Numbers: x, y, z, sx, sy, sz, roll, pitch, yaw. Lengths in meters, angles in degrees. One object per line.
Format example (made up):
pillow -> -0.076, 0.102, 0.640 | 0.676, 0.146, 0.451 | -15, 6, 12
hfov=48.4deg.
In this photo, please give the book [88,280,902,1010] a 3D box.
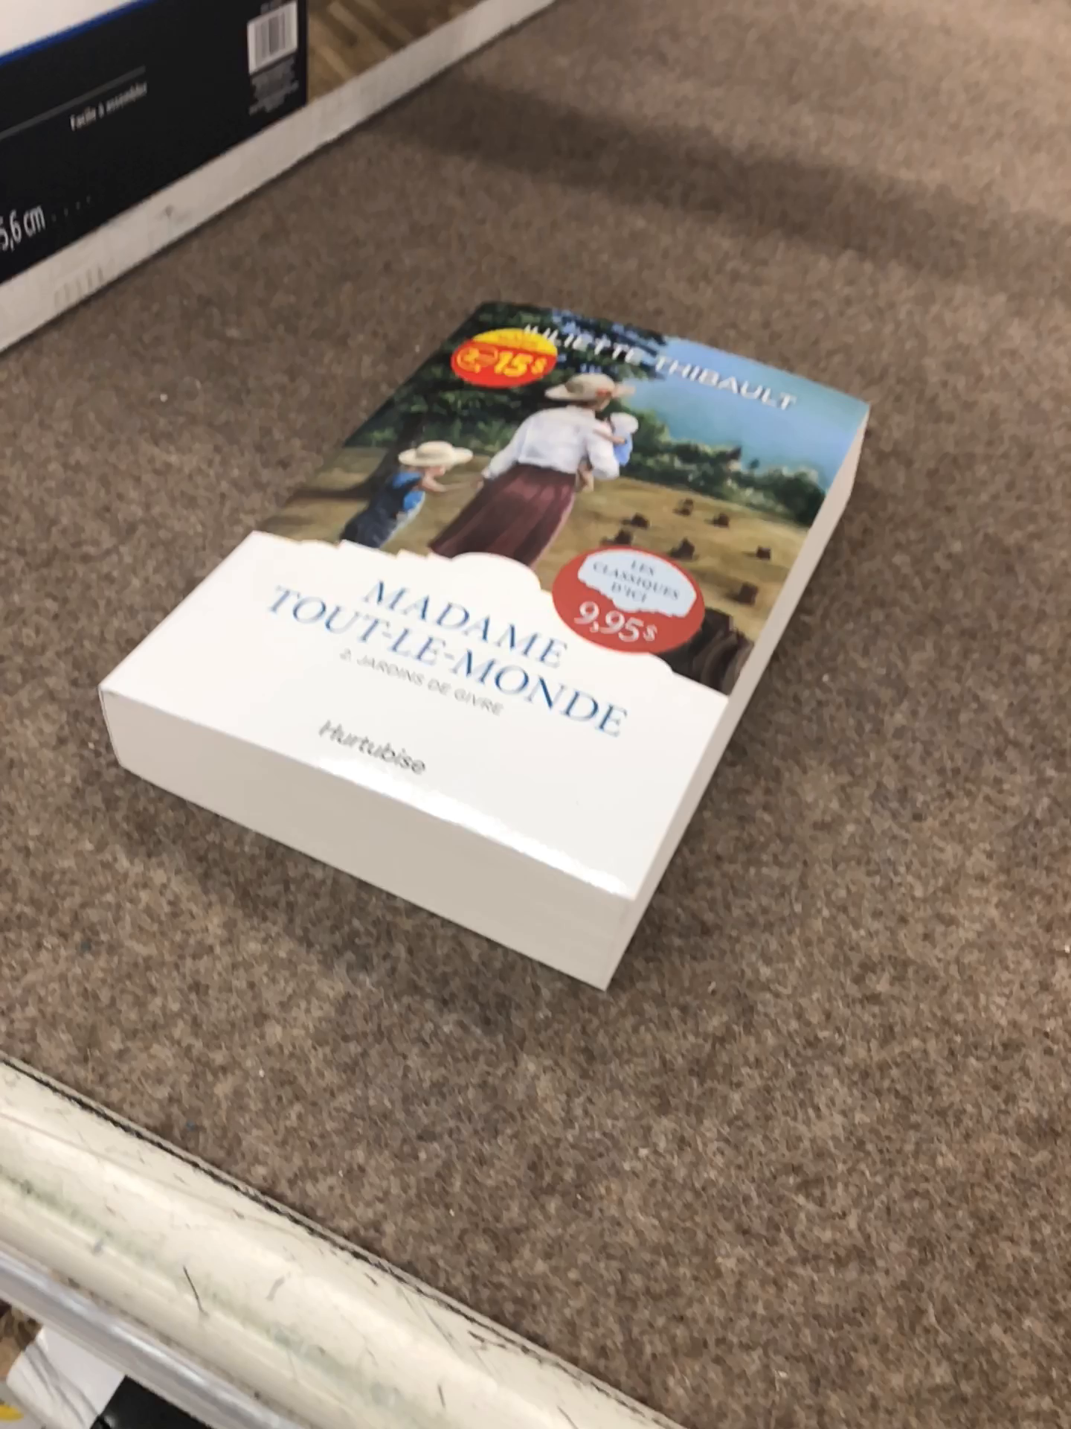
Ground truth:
book -> 0.003, -0.043, 0.373 | 0.160, 0.050, 0.222 | 20, 52, 16
